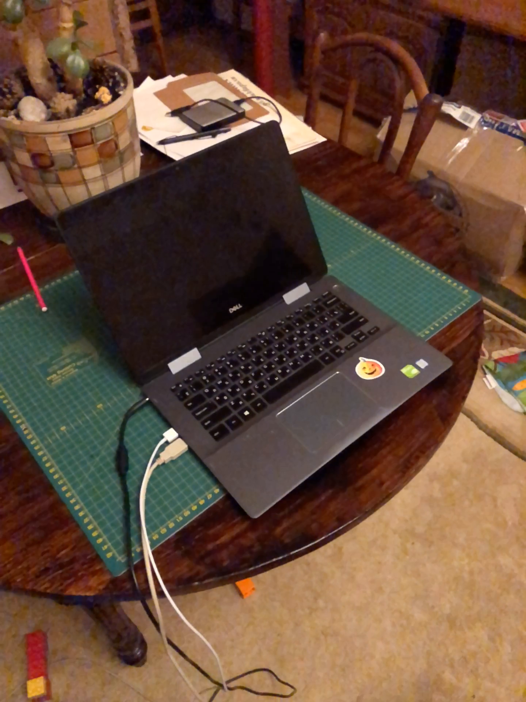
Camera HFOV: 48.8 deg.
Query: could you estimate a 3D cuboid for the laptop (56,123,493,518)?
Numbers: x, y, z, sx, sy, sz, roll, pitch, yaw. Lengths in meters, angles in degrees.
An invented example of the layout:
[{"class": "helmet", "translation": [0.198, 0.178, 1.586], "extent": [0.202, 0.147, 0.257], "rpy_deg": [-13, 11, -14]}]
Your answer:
[{"class": "laptop", "translation": [0.006, -0.064, 0.687], "extent": [0.322, 0.192, 0.337], "rpy_deg": [-32, 55, -24]}]
